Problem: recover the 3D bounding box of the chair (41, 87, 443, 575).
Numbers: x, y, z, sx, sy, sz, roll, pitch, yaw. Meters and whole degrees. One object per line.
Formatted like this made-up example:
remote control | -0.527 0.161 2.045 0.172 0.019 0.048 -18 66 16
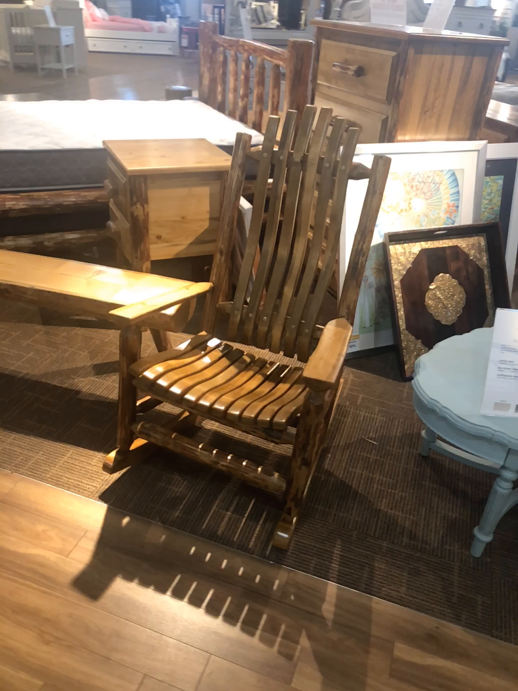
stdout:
chair | 0.003 -0.128 1.726 0.717 1.049 0.888 17 33 19
